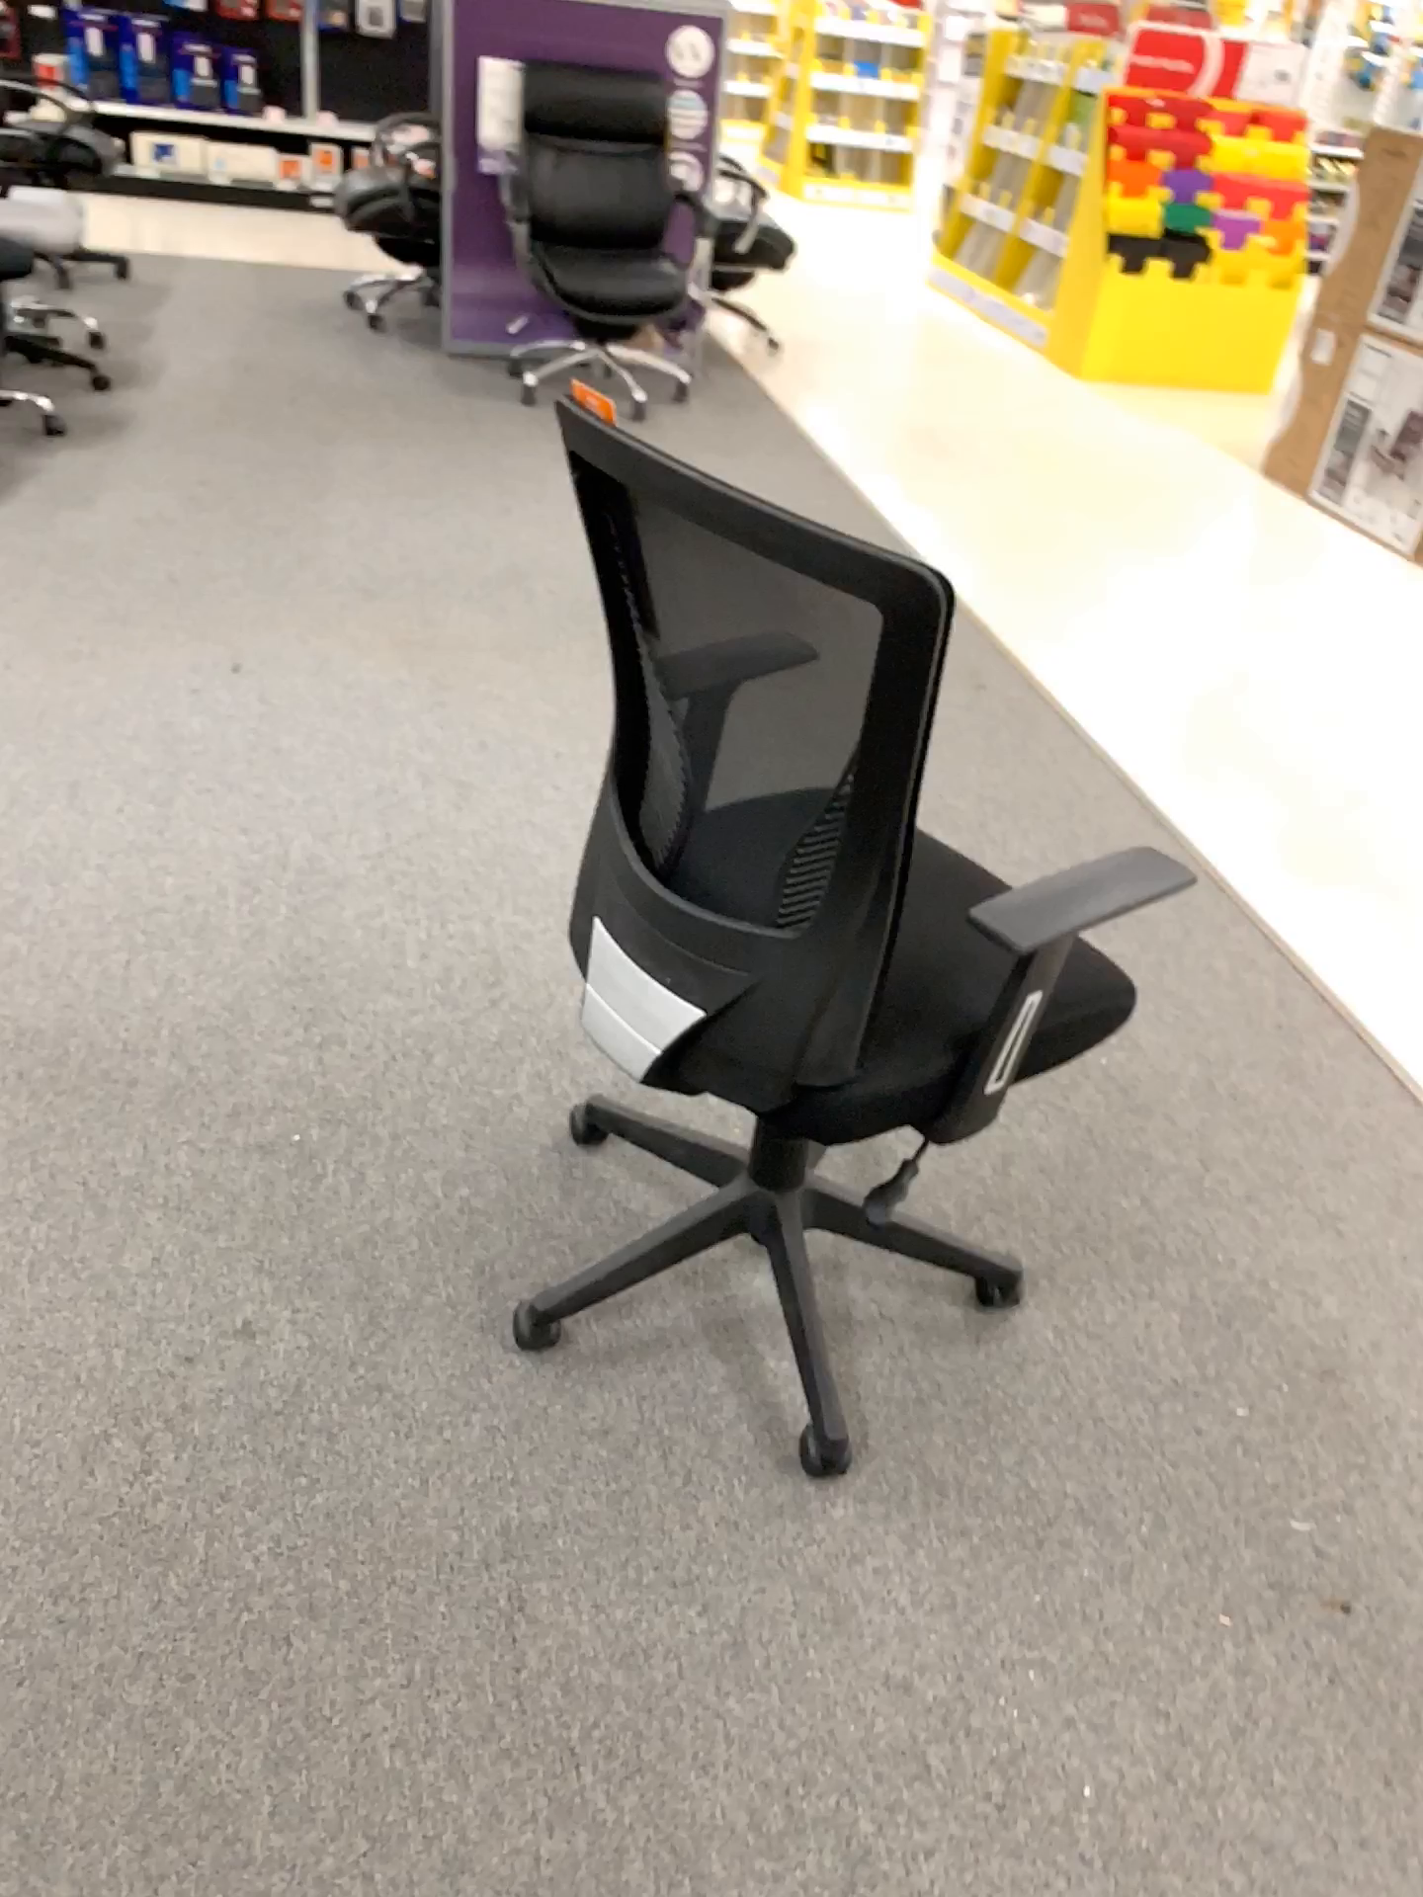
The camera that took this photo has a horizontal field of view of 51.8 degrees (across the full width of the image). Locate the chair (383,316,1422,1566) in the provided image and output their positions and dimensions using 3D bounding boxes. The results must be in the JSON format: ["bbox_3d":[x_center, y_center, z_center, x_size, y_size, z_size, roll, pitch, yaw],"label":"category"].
[{"bbox_3d":[0.094,-0.056,1.540,0.641,0.995,0.672,-15,40,-31],"label":"chair"}]
